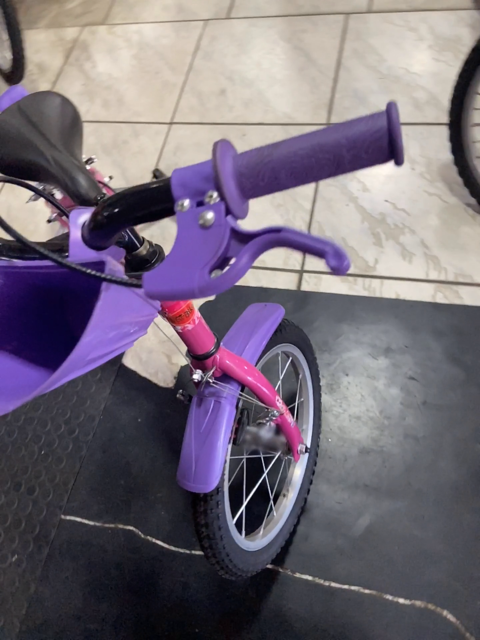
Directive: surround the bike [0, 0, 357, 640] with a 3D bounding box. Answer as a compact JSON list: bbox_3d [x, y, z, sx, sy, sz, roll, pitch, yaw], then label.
[{"bbox_3d":[-0.283,-0.047,0.745,0.546,0.704,0.923,-31,64,-4],"label":"bike"}]
